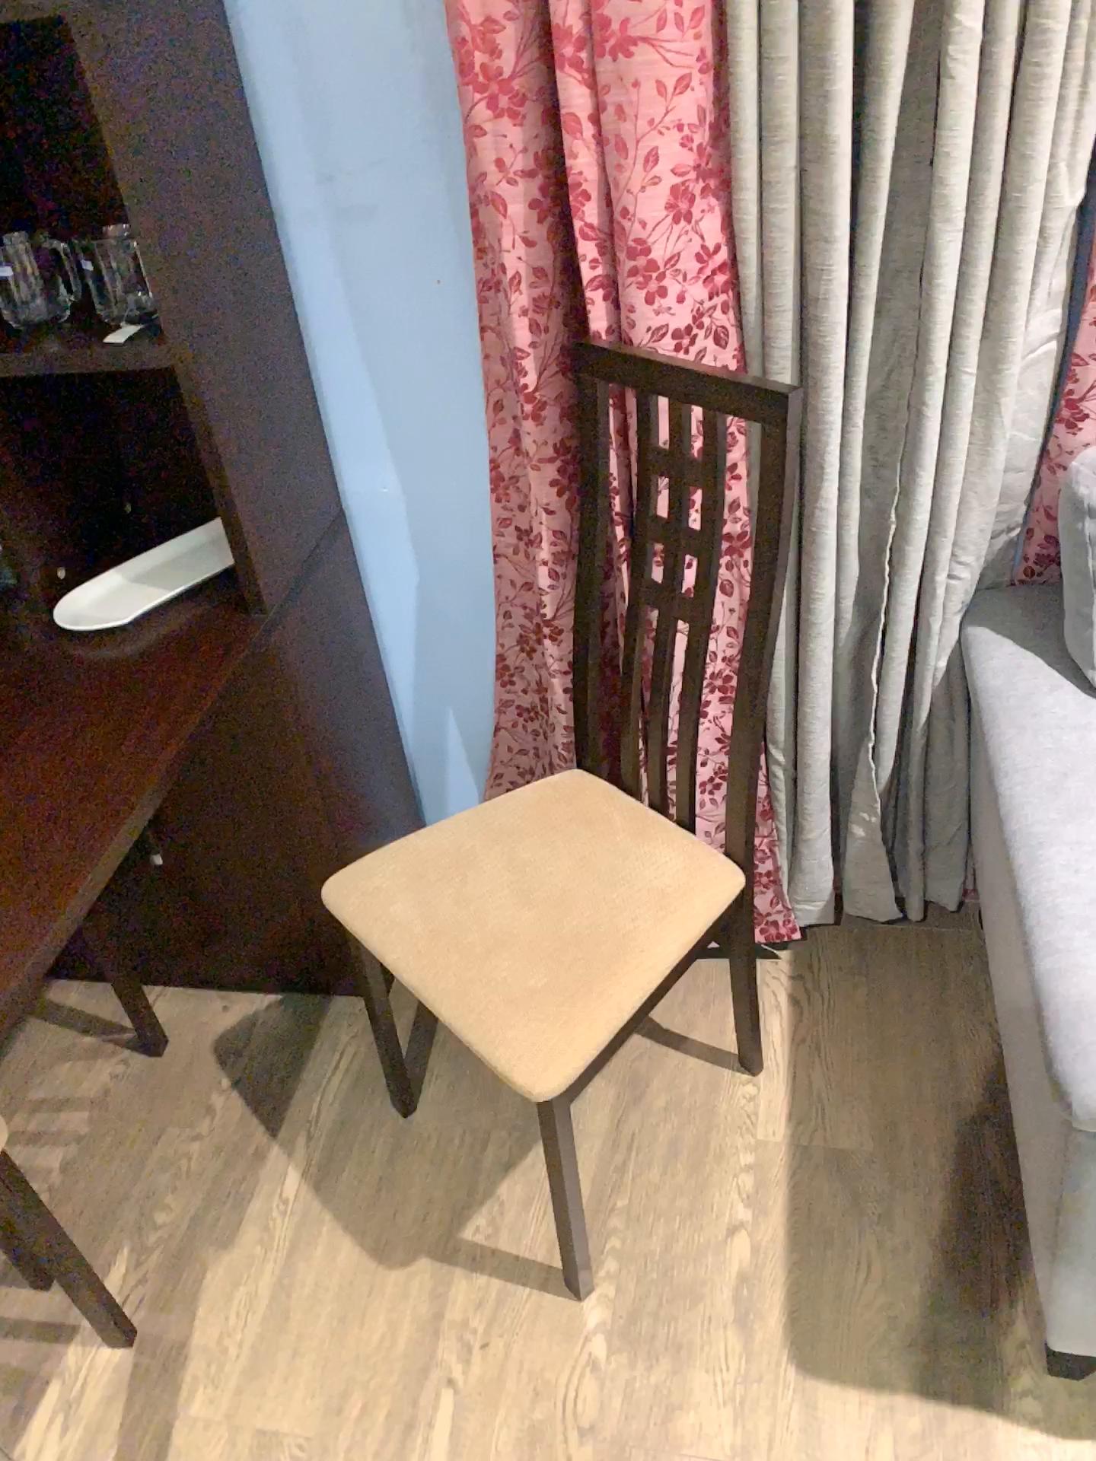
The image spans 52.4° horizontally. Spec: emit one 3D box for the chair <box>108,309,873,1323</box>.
[{"bbox_3d":[-0.014,0.099,1.343,0.511,0.976,0.532,-33,43,-30],"label":"chair"}]
